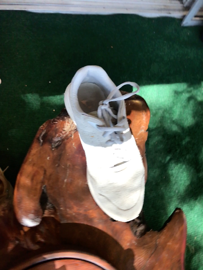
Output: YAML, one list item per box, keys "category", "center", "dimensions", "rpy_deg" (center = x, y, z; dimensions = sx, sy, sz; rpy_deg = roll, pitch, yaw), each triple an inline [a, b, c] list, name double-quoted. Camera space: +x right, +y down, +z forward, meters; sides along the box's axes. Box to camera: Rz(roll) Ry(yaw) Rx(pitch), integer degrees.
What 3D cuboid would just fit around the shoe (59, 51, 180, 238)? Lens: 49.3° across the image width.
- category: "shoe"
  center: [0.014, 0.008, 0.362]
  dimensions: [0.103, 0.091, 0.264]
  rpy_deg: [-13, 77, -17]
